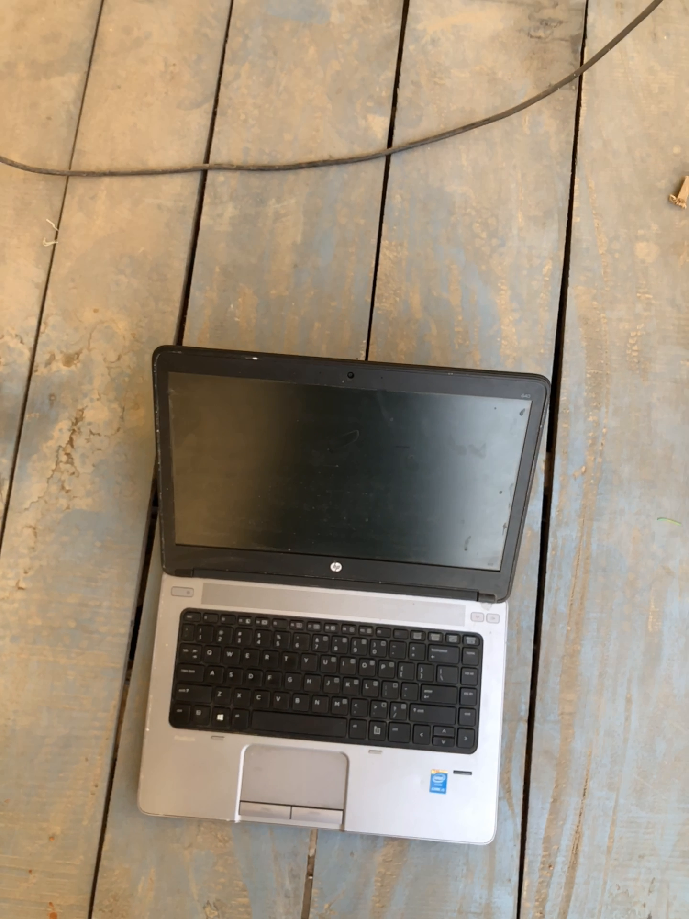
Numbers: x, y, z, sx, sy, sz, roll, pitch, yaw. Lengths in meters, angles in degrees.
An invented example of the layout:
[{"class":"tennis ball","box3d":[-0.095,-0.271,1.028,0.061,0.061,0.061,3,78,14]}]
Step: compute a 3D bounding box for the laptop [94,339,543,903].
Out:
[{"class":"laptop","box3d":[-0.014,0.123,0.635,0.306,0.123,0.388,5,84,2]}]
